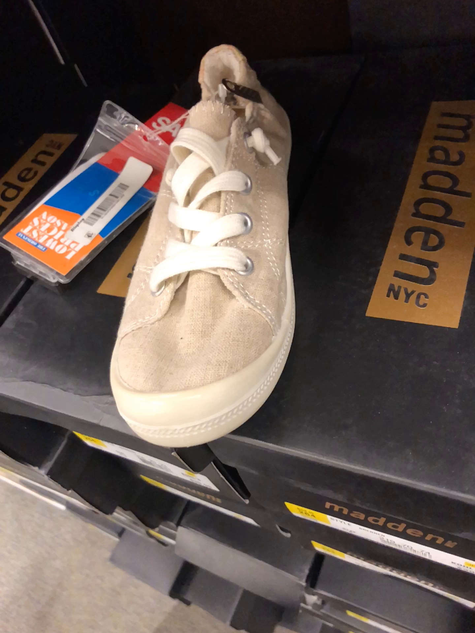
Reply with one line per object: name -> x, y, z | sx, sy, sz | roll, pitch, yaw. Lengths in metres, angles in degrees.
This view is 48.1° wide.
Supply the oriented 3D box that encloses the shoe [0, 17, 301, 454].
shoe -> -0.028, -0.049, 0.254 | 0.090, 0.070, 0.210 | -3, 51, 17
